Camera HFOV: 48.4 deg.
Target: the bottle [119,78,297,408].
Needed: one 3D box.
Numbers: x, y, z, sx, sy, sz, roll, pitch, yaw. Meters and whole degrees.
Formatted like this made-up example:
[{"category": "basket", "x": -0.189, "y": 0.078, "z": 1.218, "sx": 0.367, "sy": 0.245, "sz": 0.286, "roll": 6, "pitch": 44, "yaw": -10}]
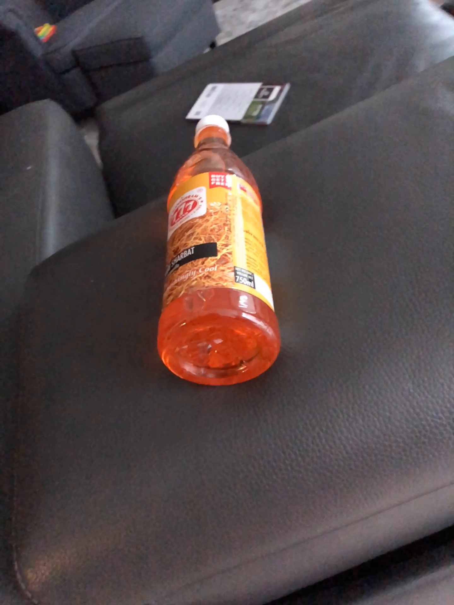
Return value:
[{"category": "bottle", "x": -0.016, "y": -0.067, "z": 0.399, "sx": 0.080, "sy": 0.070, "sz": 0.281, "roll": -27, "pitch": 41, "yaw": 23}]
